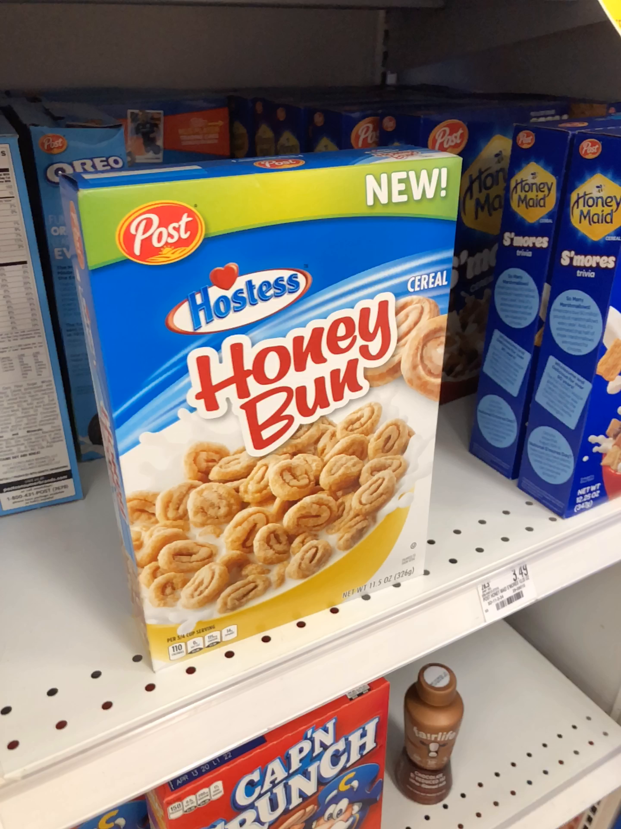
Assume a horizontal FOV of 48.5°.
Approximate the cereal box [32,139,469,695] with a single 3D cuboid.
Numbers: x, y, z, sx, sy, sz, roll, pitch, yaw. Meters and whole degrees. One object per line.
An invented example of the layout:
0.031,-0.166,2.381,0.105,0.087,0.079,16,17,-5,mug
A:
-0.024,-0.002,0.413,0.210,0.289,0.070,-13,29,-24,cereal box
